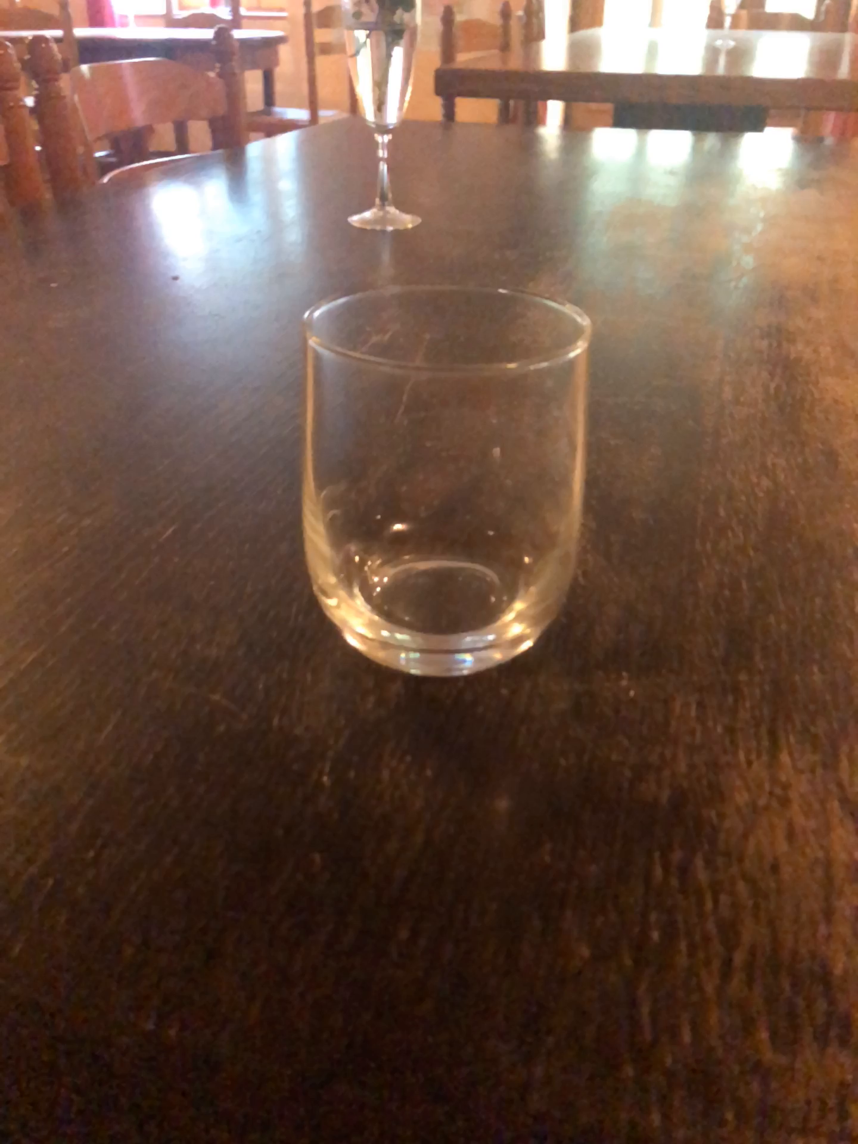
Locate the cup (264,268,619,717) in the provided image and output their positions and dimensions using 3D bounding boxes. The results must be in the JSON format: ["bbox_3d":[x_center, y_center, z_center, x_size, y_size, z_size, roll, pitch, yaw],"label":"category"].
[{"bbox_3d":[0.008,-0.025,0.244,0.070,0.084,0.078,6,31,10],"label":"cup"}]
